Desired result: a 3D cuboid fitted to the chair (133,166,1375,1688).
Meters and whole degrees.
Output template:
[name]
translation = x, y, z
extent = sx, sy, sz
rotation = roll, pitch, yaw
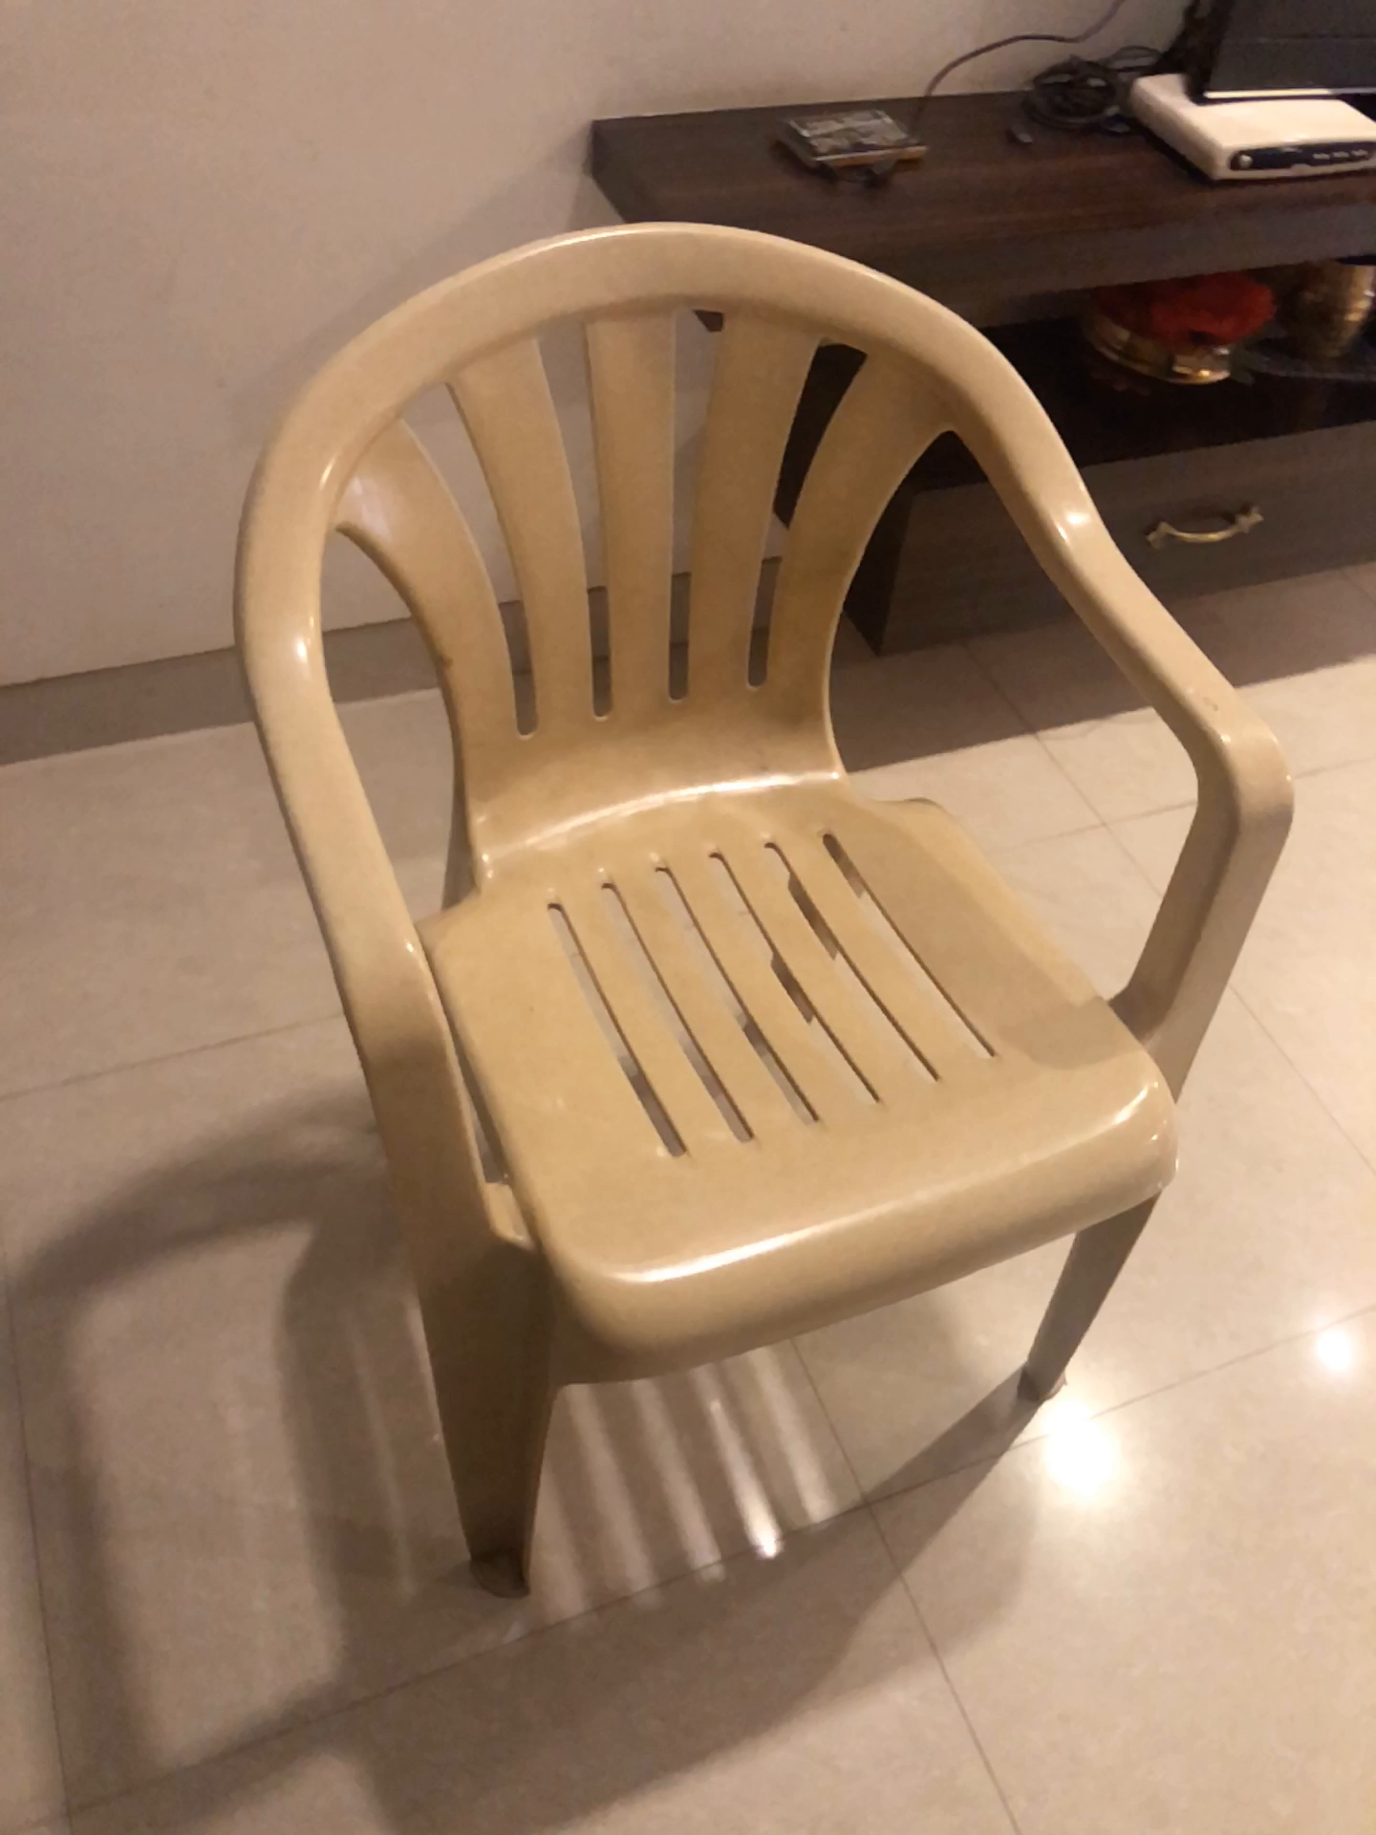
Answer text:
[chair]
translation = 0.030, 0.019, 1.069
extent = 0.571, 0.775, 0.593
rotation = -15, 52, -18
